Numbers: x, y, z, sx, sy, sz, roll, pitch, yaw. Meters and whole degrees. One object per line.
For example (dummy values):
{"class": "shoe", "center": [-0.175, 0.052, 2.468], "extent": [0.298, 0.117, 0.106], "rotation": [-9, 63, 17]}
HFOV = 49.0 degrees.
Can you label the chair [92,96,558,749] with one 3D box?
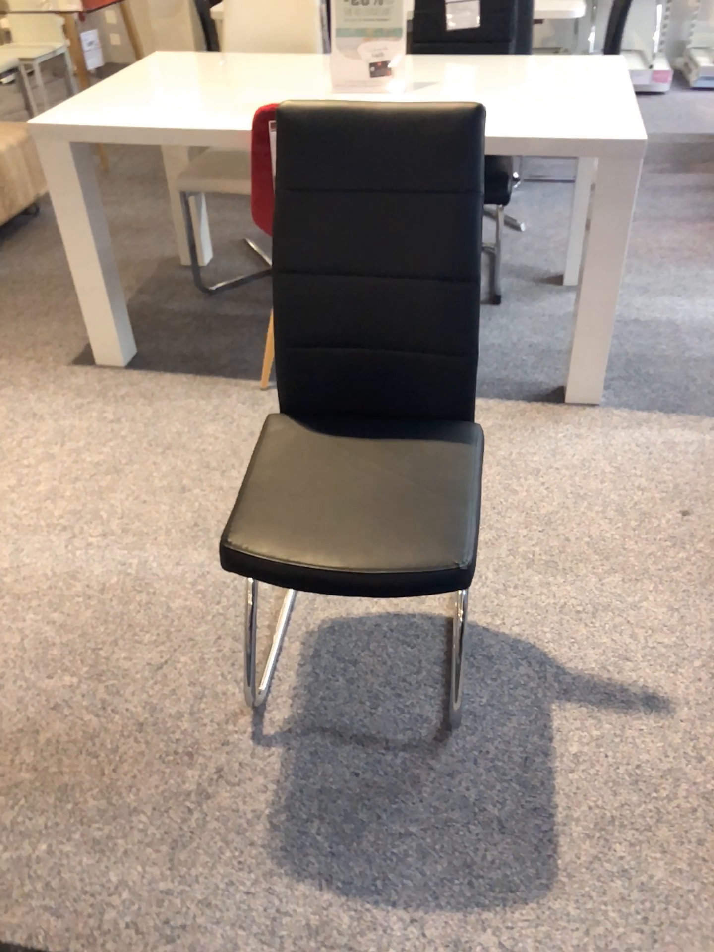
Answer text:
{"class": "chair", "center": [0.010, -0.075, 1.311], "extent": [0.490, 0.905, 0.564], "rotation": [3, 39, 7]}
